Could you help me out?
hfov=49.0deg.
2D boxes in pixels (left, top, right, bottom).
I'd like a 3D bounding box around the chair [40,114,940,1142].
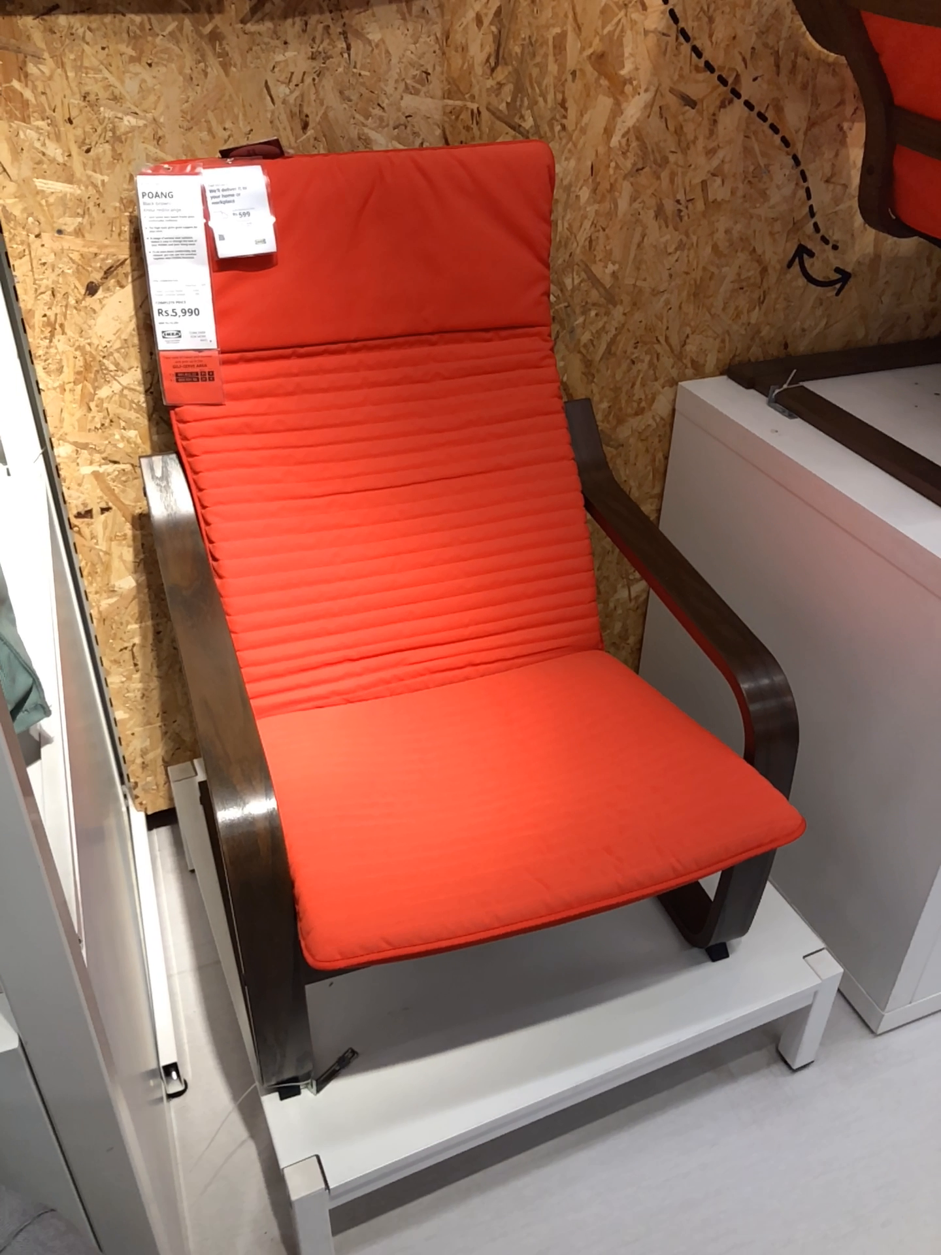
[{"bbox_3d":[-0.040,-0.082,1.313,0.751,0.894,0.795,-11,36,-17],"label":"chair"}]
